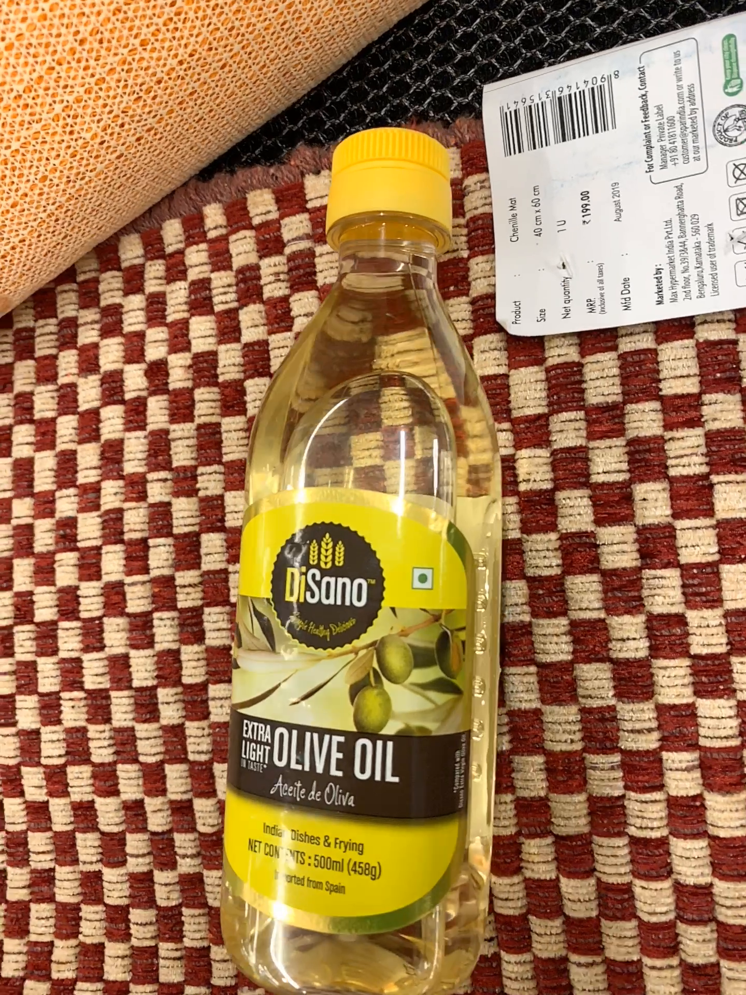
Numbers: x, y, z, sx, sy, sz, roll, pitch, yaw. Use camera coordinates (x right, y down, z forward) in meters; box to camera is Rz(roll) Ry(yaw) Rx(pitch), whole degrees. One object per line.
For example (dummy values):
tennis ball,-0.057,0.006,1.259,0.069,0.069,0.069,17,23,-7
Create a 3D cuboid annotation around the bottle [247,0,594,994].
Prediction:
bottle,0.018,0.002,0.202,0.070,0.060,0.230,1,87,19
